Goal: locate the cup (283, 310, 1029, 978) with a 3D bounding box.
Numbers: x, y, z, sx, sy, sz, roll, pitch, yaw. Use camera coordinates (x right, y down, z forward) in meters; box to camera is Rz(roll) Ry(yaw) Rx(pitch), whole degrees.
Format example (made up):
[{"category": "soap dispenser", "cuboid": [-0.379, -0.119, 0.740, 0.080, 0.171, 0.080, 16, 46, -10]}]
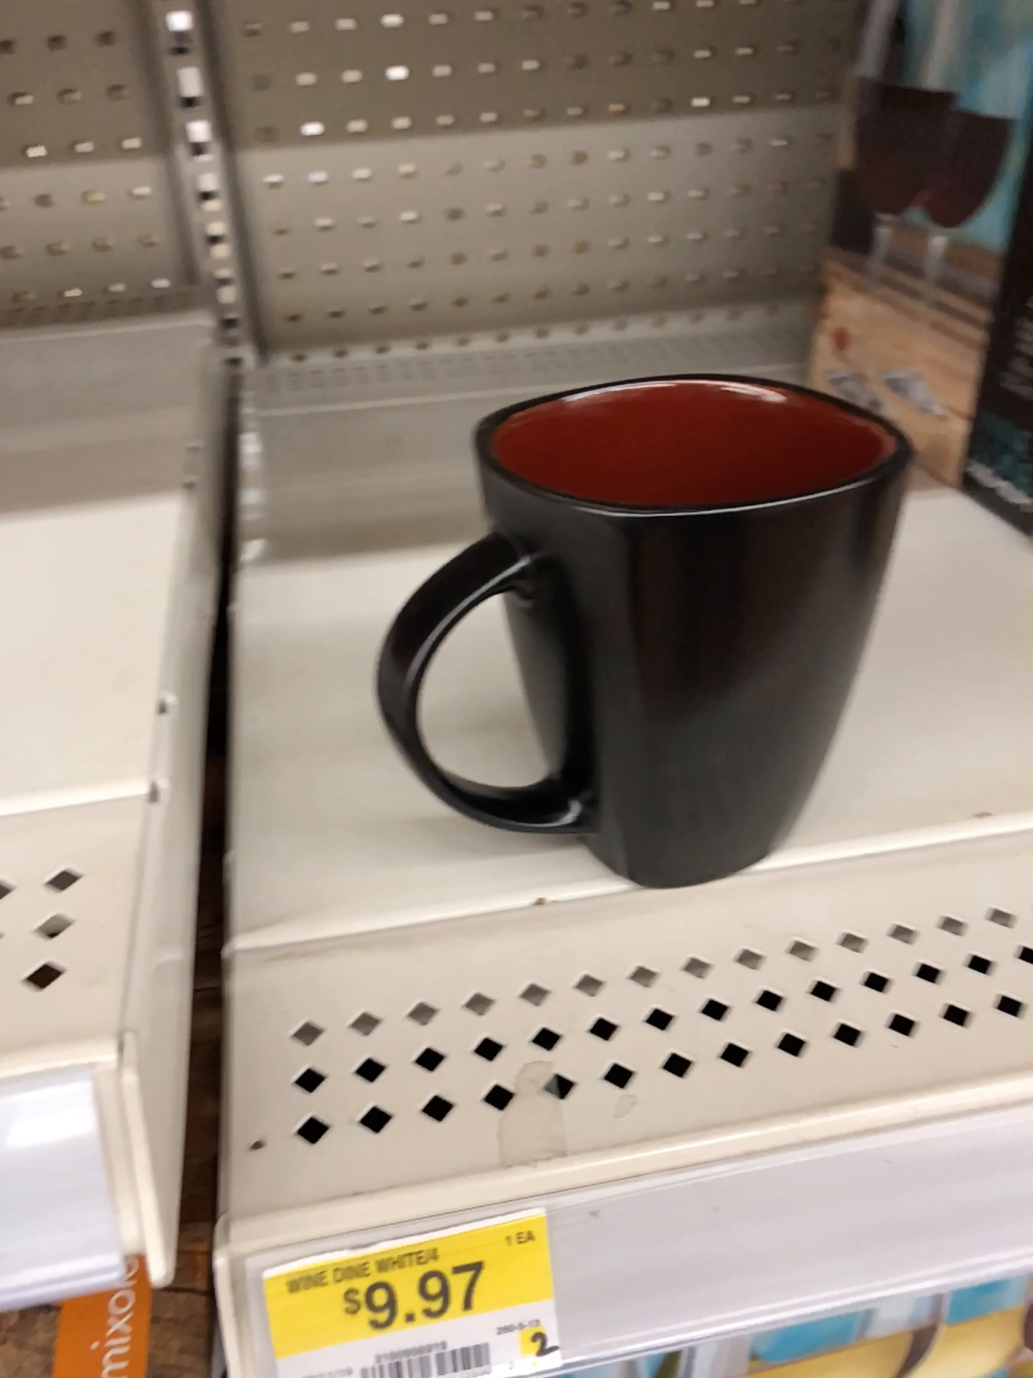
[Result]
[{"category": "cup", "cuboid": [0.027, -0.019, 0.272, 0.130, 0.100, 0.090, -15, 34, -19]}]
